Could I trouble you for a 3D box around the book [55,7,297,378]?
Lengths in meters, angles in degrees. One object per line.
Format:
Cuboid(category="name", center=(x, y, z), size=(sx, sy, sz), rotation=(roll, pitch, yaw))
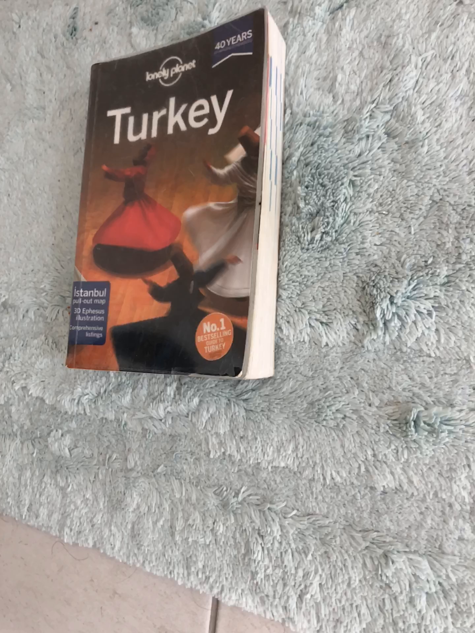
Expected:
Cuboid(category="book", center=(-0.038, -0.063, 0.317), size=(0.130, 0.046, 0.190), rotation=(1, 85, 29))
